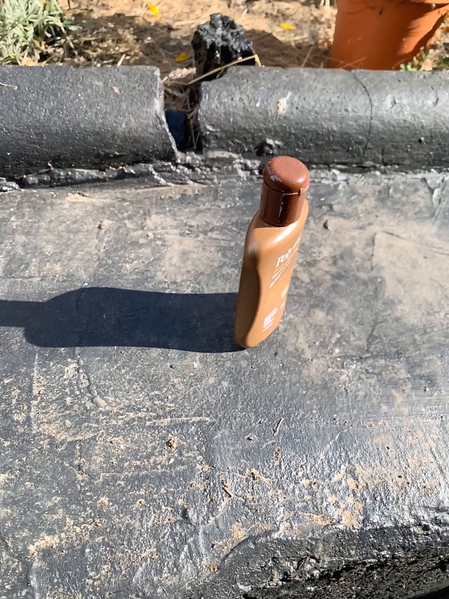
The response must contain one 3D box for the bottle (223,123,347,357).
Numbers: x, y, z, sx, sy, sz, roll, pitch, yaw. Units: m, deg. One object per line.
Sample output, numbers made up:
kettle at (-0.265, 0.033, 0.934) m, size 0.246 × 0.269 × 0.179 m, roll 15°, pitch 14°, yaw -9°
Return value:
bottle at (0.037, -0.035, 0.329) m, size 0.040 × 0.149 × 0.070 m, roll 25°, pitch 52°, yaw 17°
